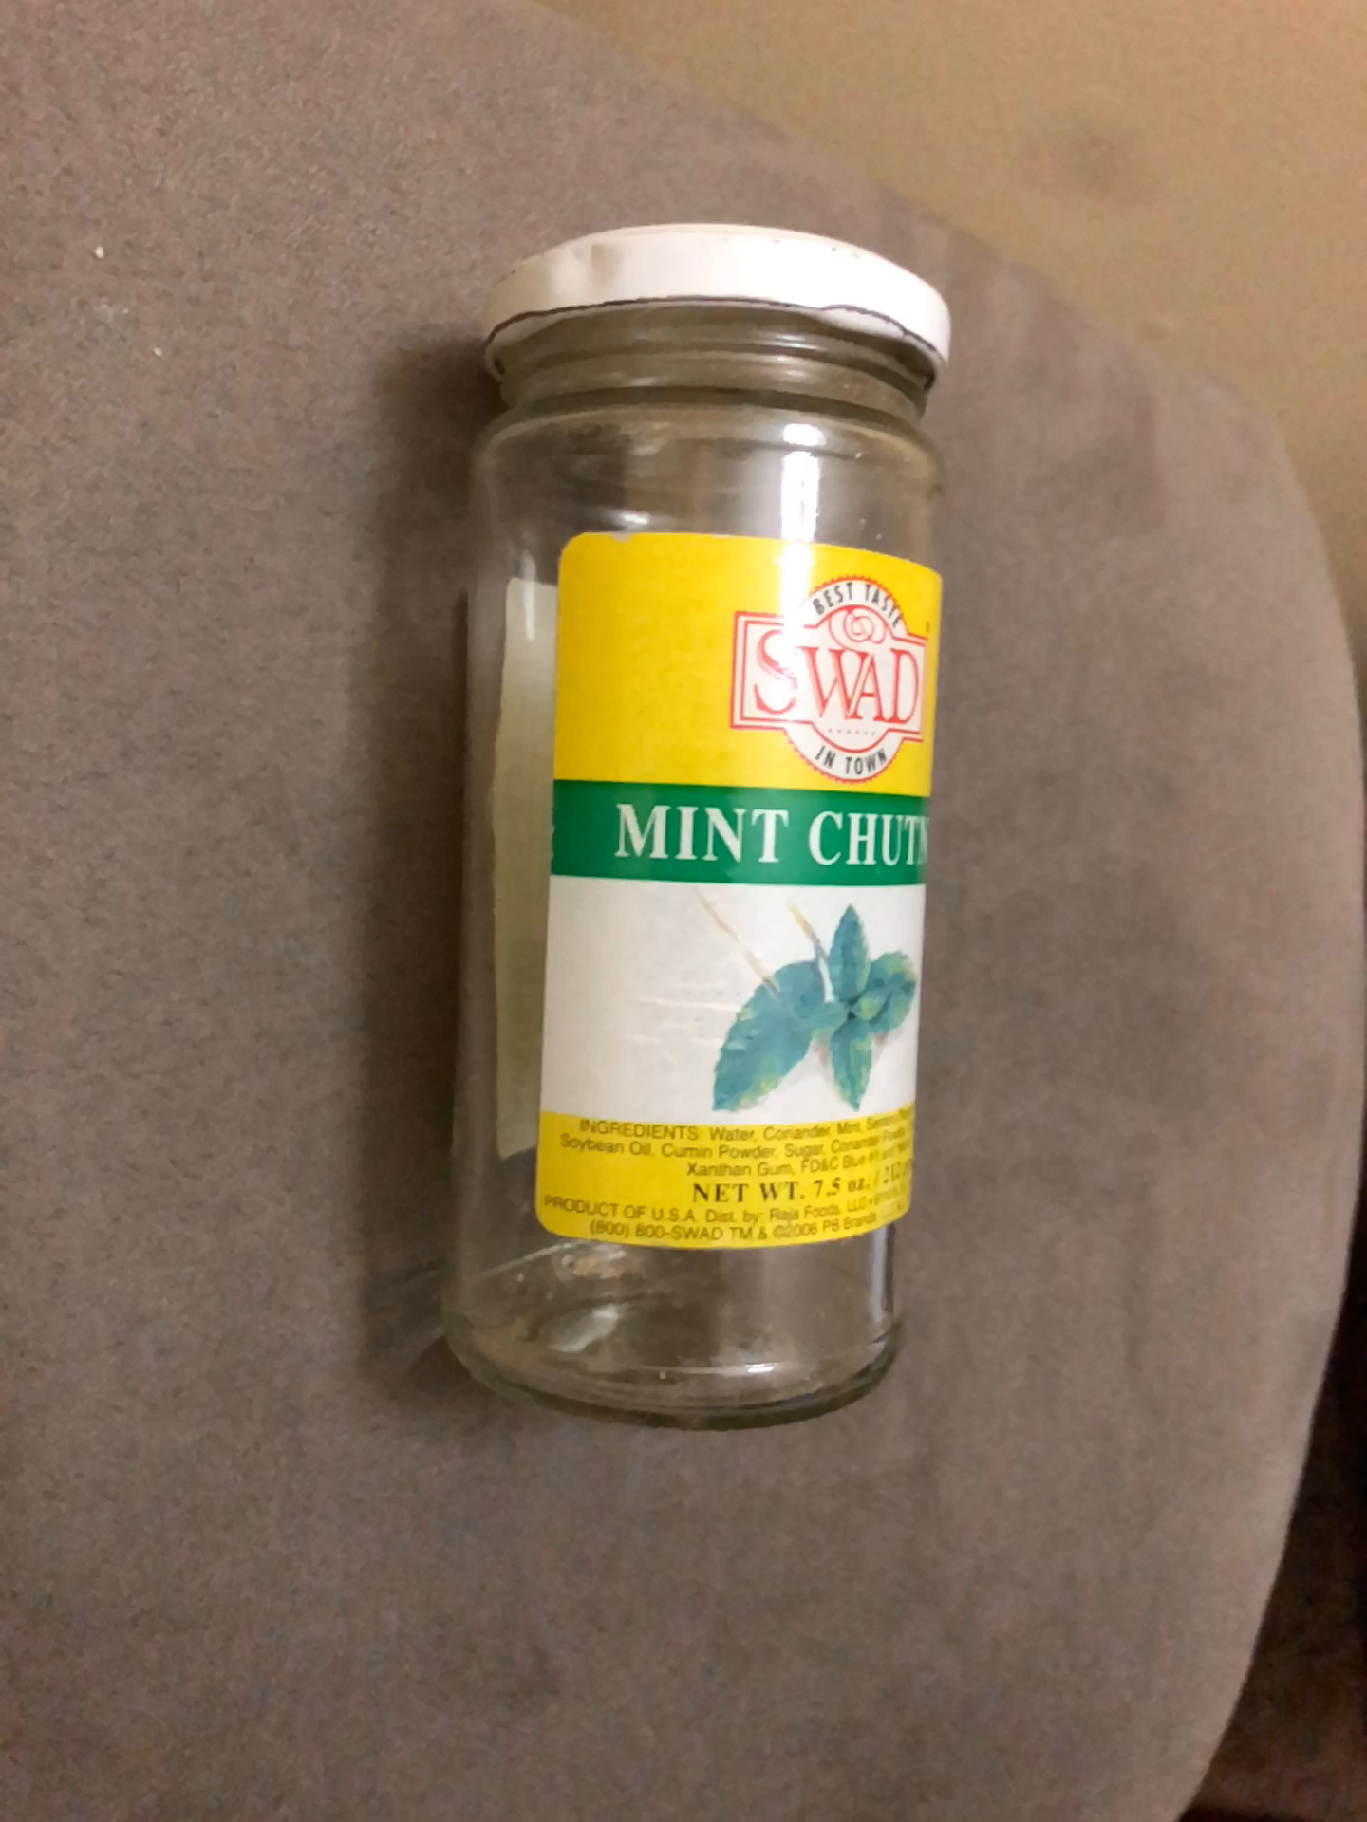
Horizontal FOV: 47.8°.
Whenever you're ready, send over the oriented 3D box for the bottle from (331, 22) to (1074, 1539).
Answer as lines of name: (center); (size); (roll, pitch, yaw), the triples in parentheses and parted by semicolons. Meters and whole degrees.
bottle: (-0.001, -0.012, 0.180); (0.060, 0.059, 0.137); (0, 94, -29)
